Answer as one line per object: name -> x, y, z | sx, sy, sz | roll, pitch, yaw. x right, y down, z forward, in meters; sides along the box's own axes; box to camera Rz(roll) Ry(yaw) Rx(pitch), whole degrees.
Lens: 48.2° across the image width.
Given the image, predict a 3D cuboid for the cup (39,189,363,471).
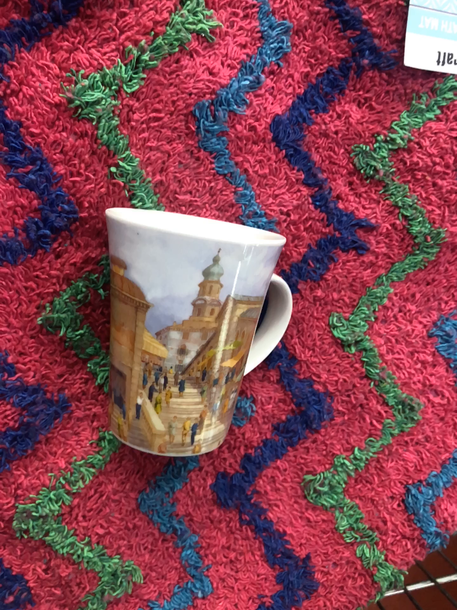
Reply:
cup -> -0.012, 0.003, 0.243 | 0.110, 0.090, 0.090 | -3, 106, -49
